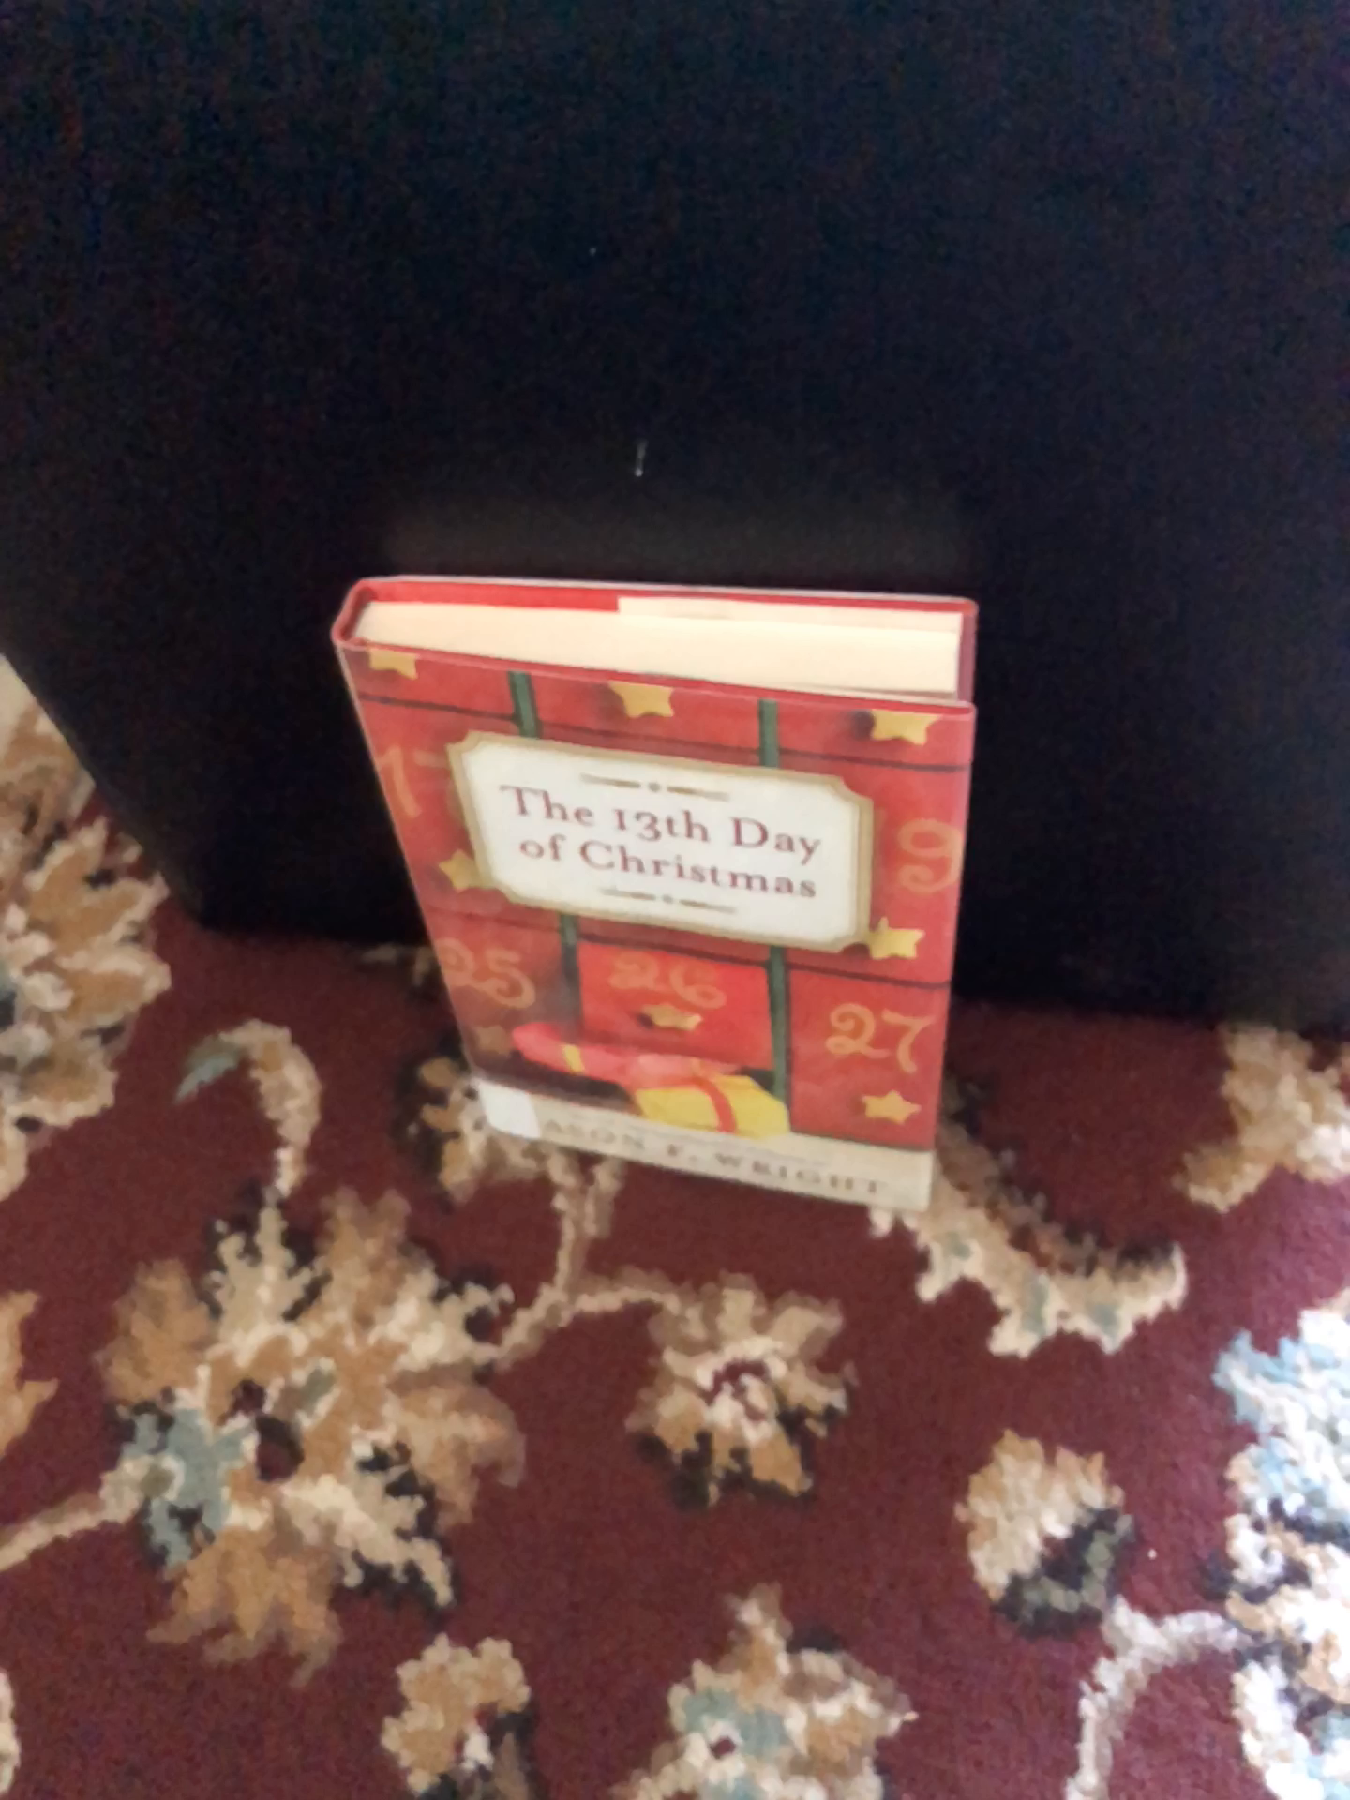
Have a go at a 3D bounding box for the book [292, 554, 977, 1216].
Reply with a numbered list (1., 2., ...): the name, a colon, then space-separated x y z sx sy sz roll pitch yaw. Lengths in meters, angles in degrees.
1. book: -0.001 0.006 0.385 0.138 0.190 0.040 5 49 11
